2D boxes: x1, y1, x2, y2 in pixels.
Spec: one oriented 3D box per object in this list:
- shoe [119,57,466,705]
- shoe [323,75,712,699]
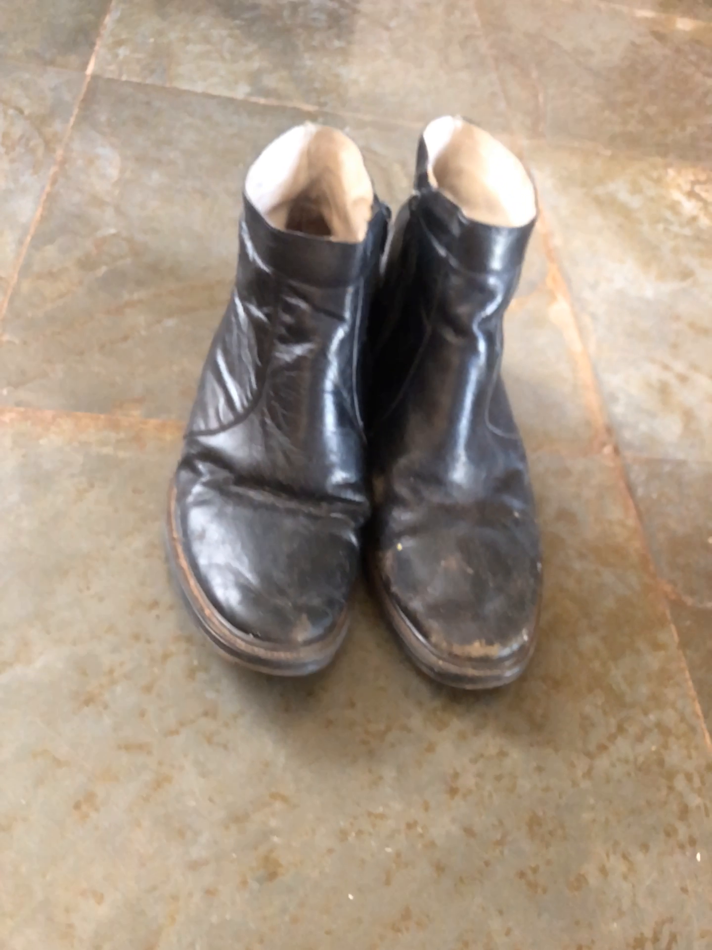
[{"bbox_3d":[-0.034,-0.048,0.368,0.100,0.159,0.252,5,50,-9],"label":"shoe"},{"bbox_3d":[0.057,-0.047,0.382,0.100,0.159,0.252,1,51,-12],"label":"shoe"}]
